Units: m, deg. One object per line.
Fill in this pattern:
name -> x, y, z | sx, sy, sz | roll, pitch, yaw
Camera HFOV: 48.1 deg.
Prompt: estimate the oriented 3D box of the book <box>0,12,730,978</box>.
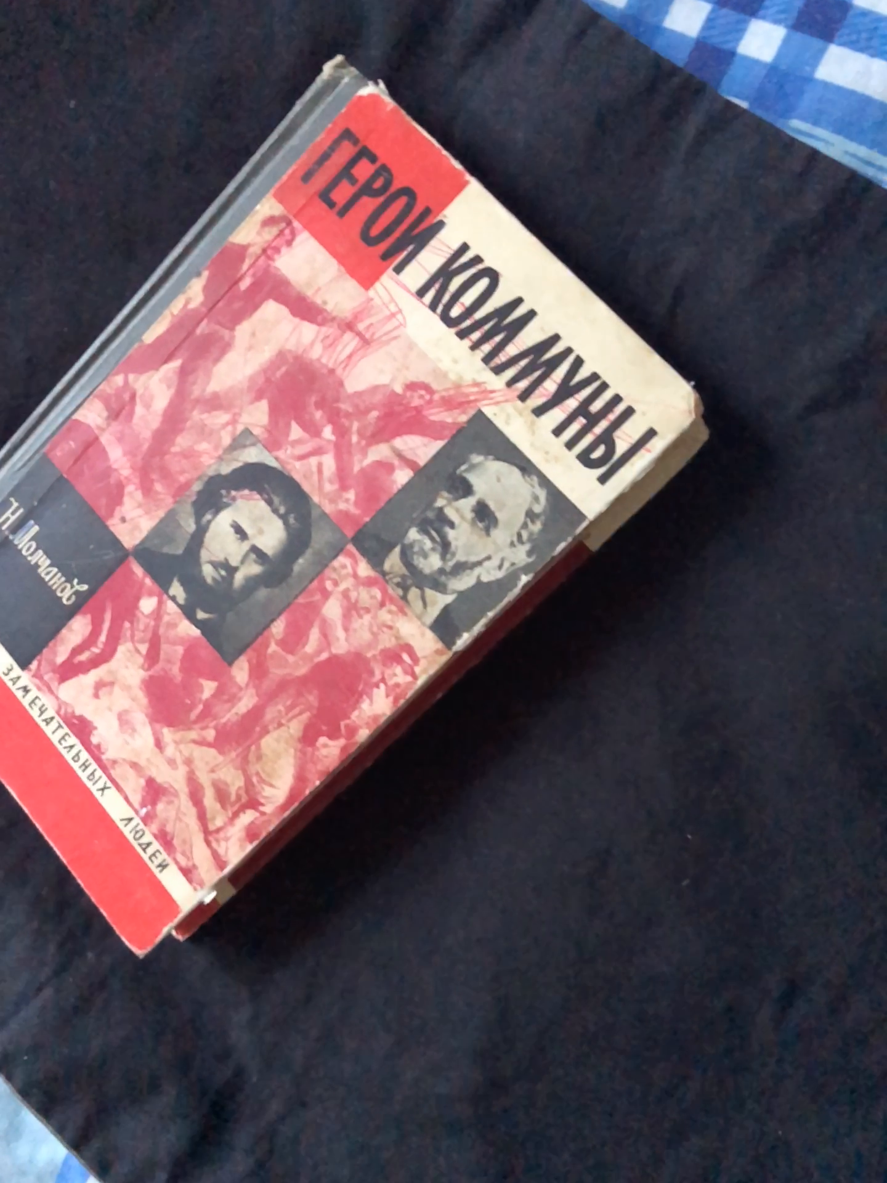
book -> -0.044, -0.020, 0.268 | 0.201, 0.060, 0.128 | -46, 78, 10
